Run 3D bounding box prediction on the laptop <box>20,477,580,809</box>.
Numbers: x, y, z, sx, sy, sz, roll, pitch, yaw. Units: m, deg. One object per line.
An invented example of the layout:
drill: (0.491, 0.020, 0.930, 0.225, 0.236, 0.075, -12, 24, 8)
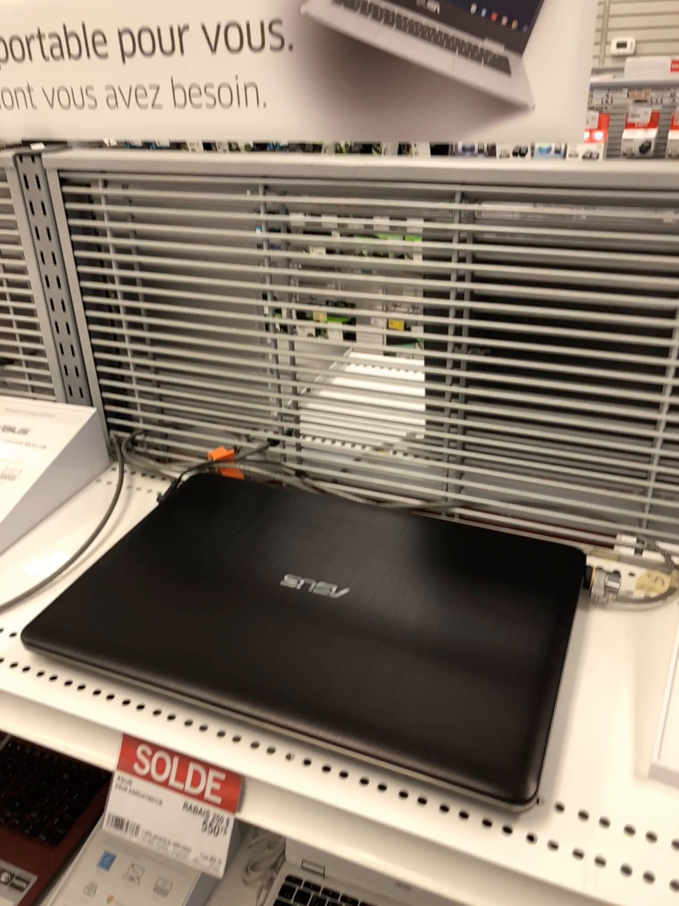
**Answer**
laptop: (-0.018, 0.117, 0.589, 0.368, 0.013, 0.235, 11, 33, 19)
